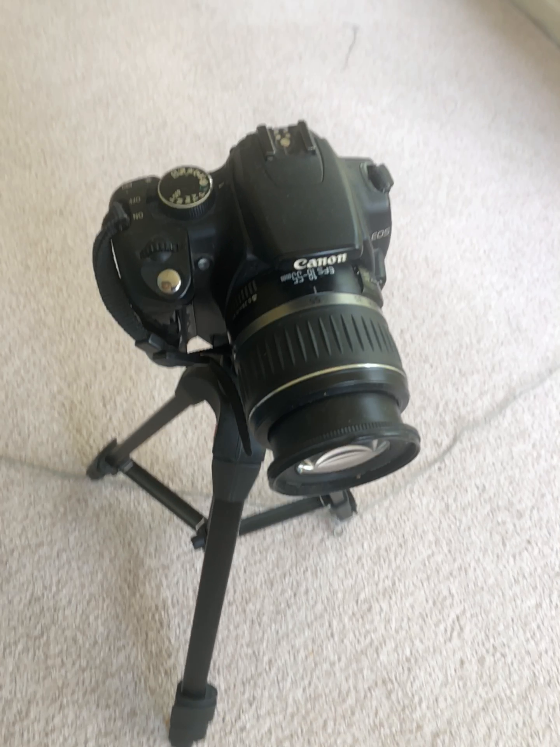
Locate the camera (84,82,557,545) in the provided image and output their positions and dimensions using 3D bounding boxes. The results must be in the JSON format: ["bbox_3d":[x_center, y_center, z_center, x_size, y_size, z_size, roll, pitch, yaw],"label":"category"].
[{"bbox_3d":[0.004,-0.025,0.258,0.130,0.093,0.142,-12,65,-10],"label":"camera"}]
